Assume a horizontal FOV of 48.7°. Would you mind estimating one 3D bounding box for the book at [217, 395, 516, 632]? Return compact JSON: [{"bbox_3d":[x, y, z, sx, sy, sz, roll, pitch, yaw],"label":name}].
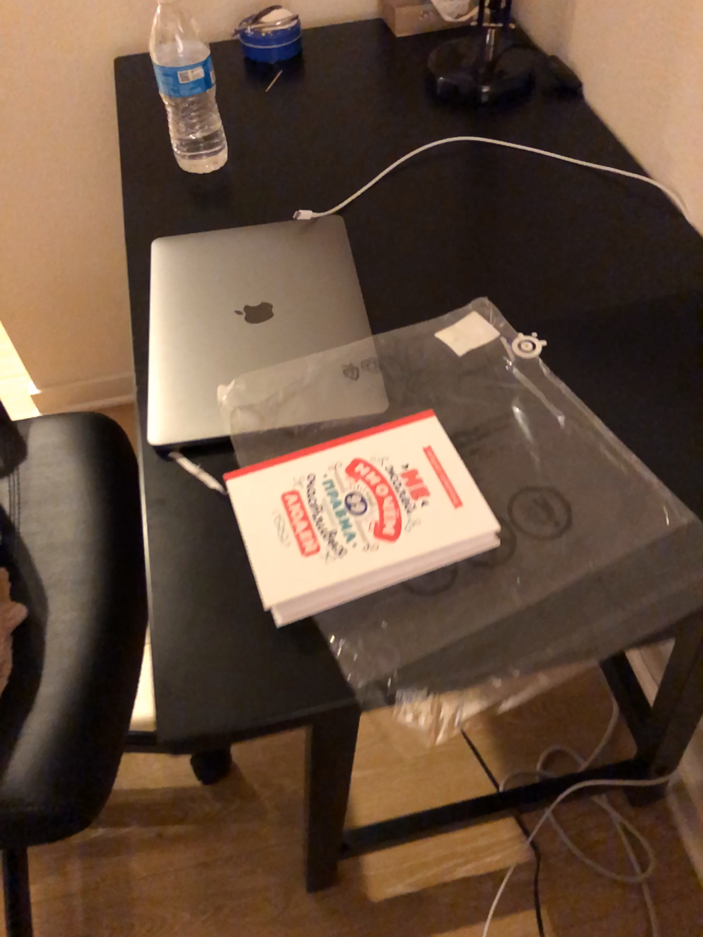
[{"bbox_3d":[0.008,0.028,0.605,0.190,0.030,0.140,-19,53,-11],"label":"book"}]
